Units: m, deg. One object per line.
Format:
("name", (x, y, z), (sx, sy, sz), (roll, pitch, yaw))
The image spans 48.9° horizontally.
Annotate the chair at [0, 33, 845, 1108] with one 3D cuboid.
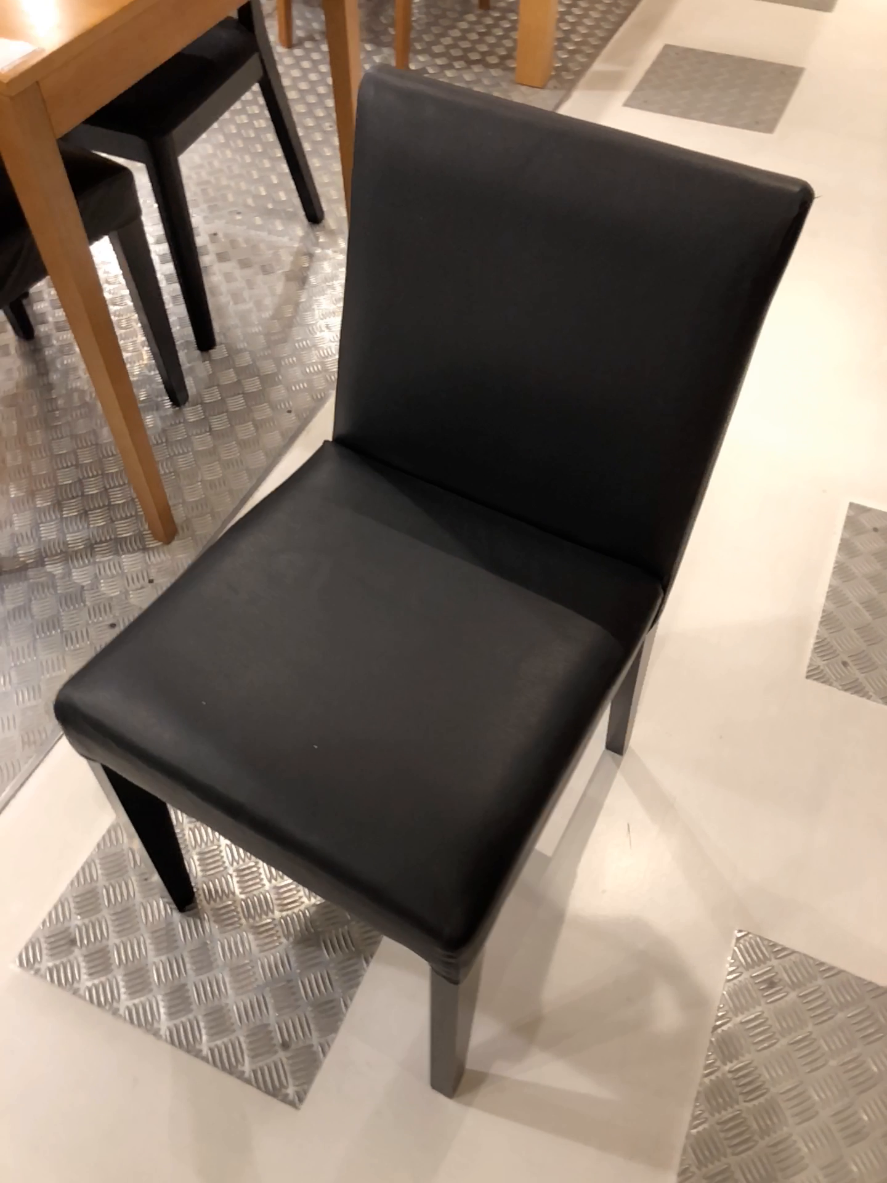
("chair", (-0.046, 0.034, 0.979), (0.470, 0.825, 0.553), (26, 56, 19))
